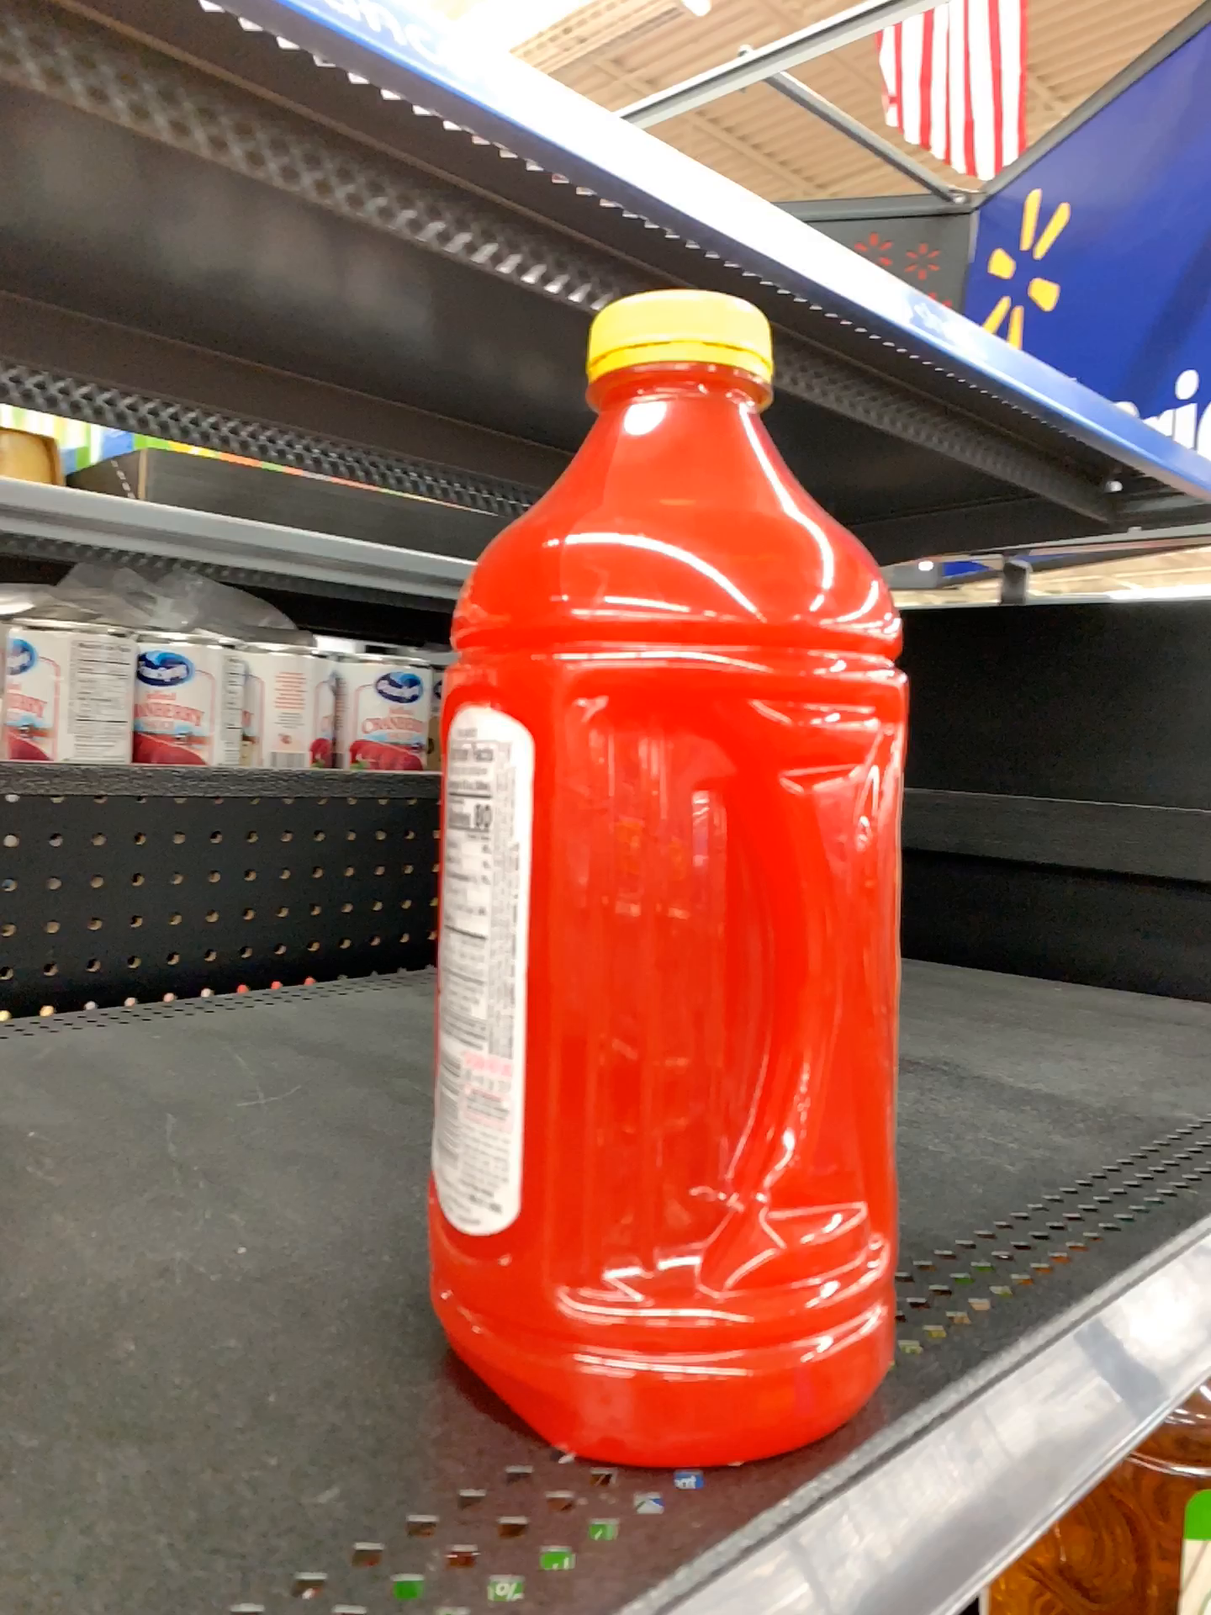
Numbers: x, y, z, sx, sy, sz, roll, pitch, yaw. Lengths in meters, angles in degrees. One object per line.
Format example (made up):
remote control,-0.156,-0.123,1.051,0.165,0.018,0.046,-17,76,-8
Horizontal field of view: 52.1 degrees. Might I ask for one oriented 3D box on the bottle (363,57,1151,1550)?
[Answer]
bottle,0.027,-0.002,0.311,0.122,0.265,0.140,1,3,-31
